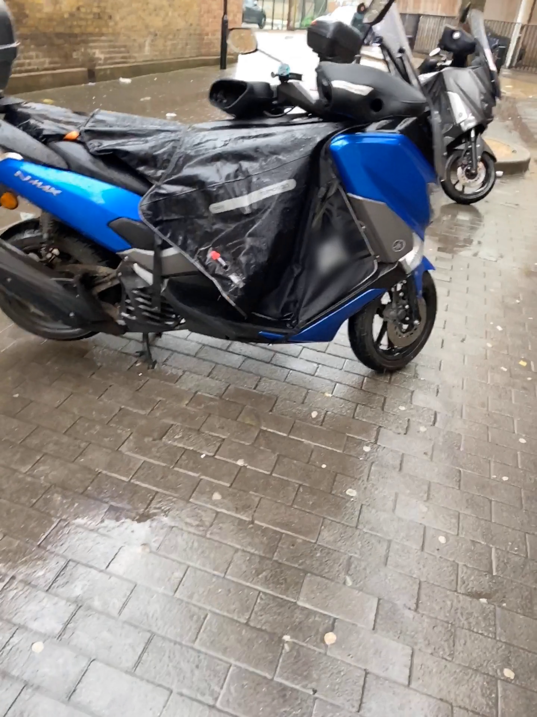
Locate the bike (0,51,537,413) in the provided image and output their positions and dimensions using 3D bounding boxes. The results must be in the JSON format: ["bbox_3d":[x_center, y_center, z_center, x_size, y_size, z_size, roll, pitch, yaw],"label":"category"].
[{"bbox_3d":[-0.147,-0.421,1.952,1.731,0.998,0.682,1,32,-8],"label":"bike"}]
